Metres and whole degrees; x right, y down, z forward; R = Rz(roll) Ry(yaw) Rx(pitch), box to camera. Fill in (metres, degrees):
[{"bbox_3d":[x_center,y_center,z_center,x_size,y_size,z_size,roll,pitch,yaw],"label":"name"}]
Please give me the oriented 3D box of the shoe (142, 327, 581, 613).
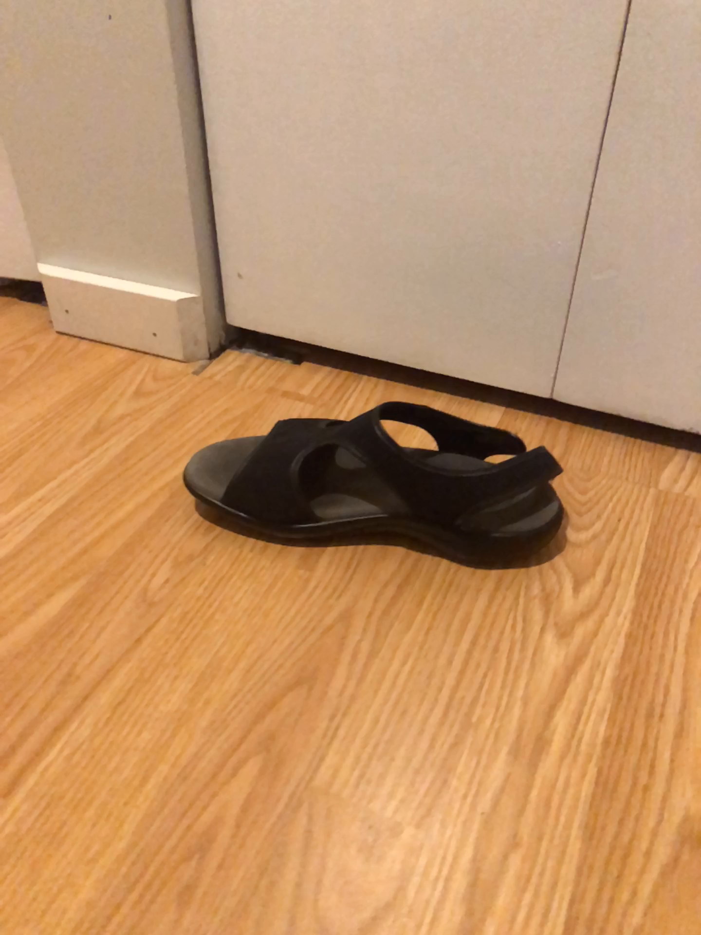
[{"bbox_3d":[0.009,-0.005,0.505,0.250,0.100,0.100,11,40,13],"label":"shoe"}]
